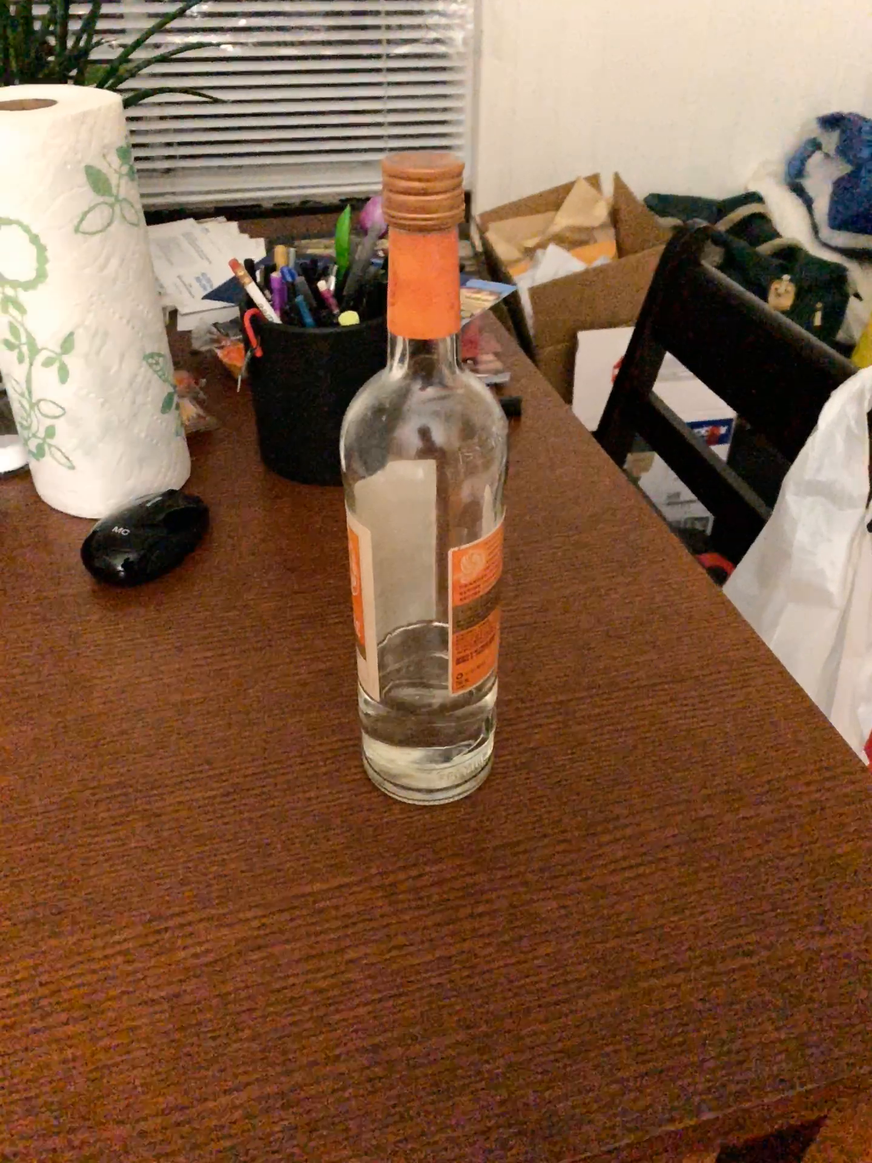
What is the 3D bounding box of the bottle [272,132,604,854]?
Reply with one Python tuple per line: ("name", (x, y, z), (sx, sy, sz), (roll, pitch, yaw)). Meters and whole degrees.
("bottle", (0.004, -0.022, 0.395), (0.080, 0.298, 0.090), (18, 41, 22))
